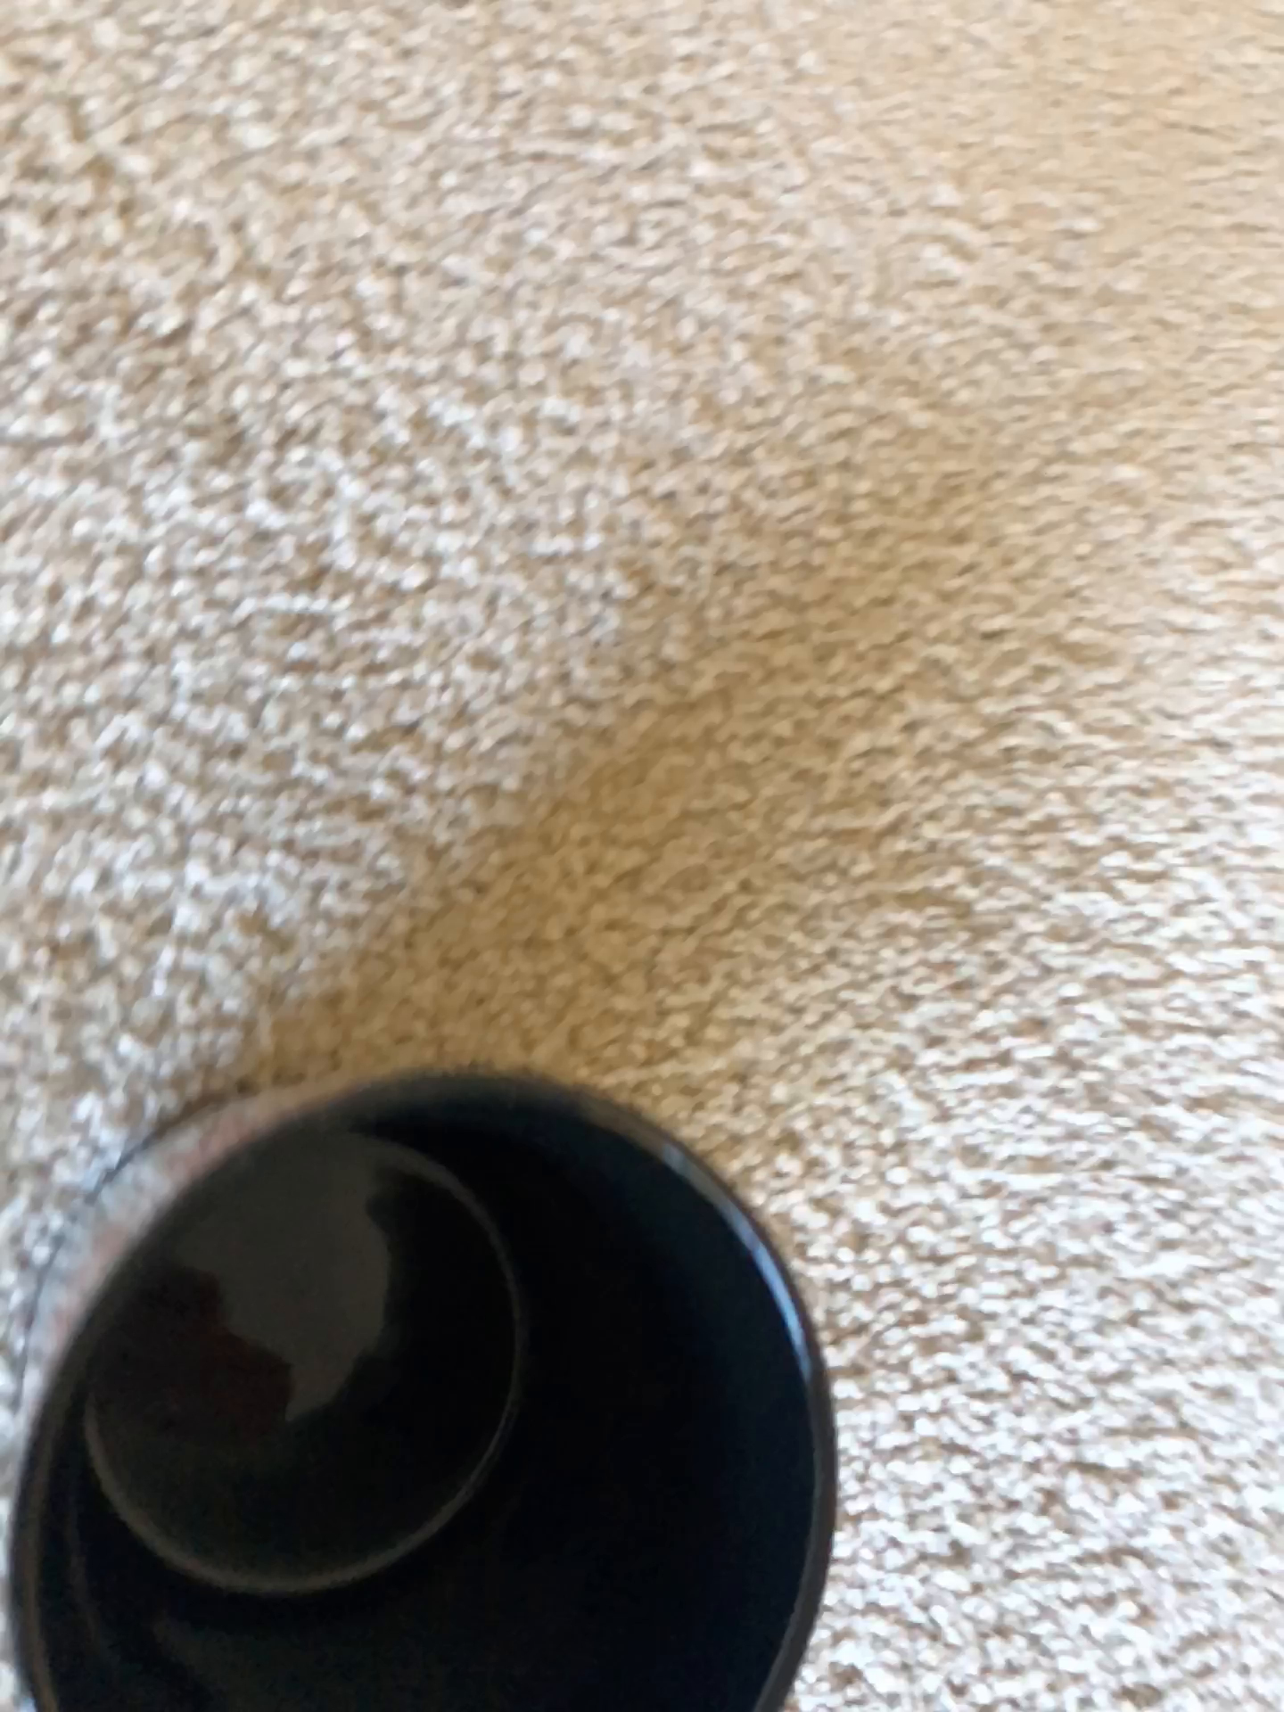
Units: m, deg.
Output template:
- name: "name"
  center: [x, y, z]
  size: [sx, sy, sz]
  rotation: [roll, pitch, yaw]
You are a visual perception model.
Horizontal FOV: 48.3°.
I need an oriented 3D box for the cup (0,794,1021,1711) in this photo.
- name: "cup"
  center: [-0.024, 0.075, 0.178]
  size: [0.090, 0.090, 0.130]
  rotation: [16, 74, -21]
